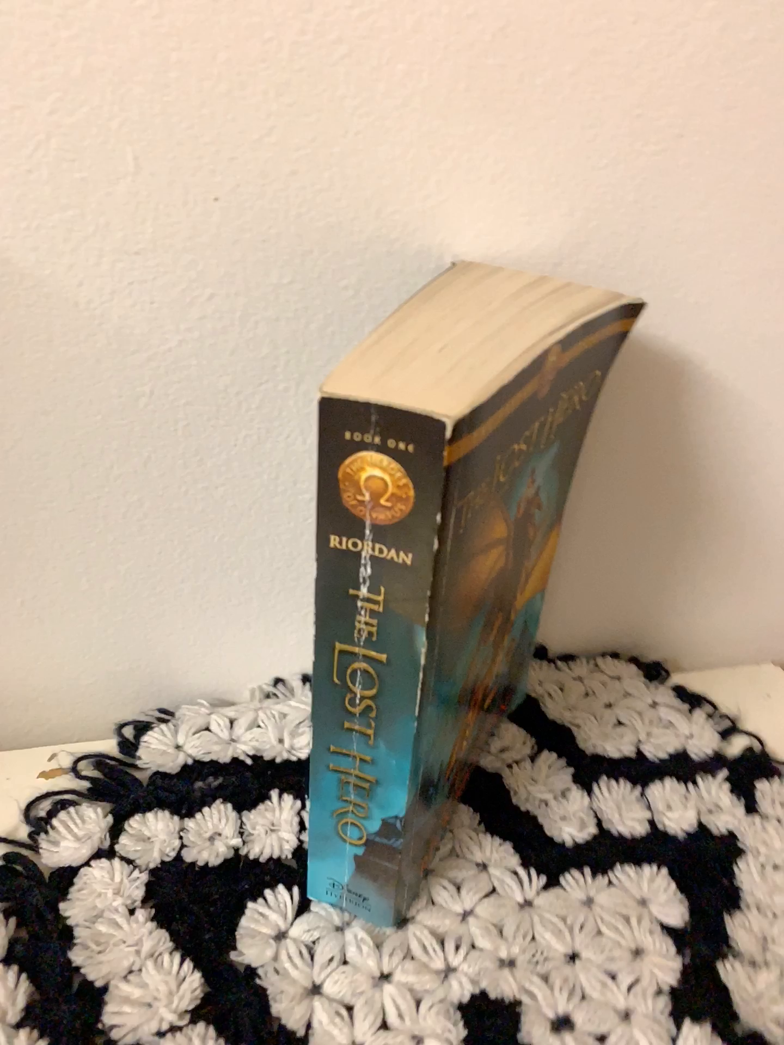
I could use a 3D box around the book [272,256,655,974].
[{"bbox_3d":[0.029,0.020,0.270,0.068,0.177,0.143,12,31,18],"label":"book"}]
